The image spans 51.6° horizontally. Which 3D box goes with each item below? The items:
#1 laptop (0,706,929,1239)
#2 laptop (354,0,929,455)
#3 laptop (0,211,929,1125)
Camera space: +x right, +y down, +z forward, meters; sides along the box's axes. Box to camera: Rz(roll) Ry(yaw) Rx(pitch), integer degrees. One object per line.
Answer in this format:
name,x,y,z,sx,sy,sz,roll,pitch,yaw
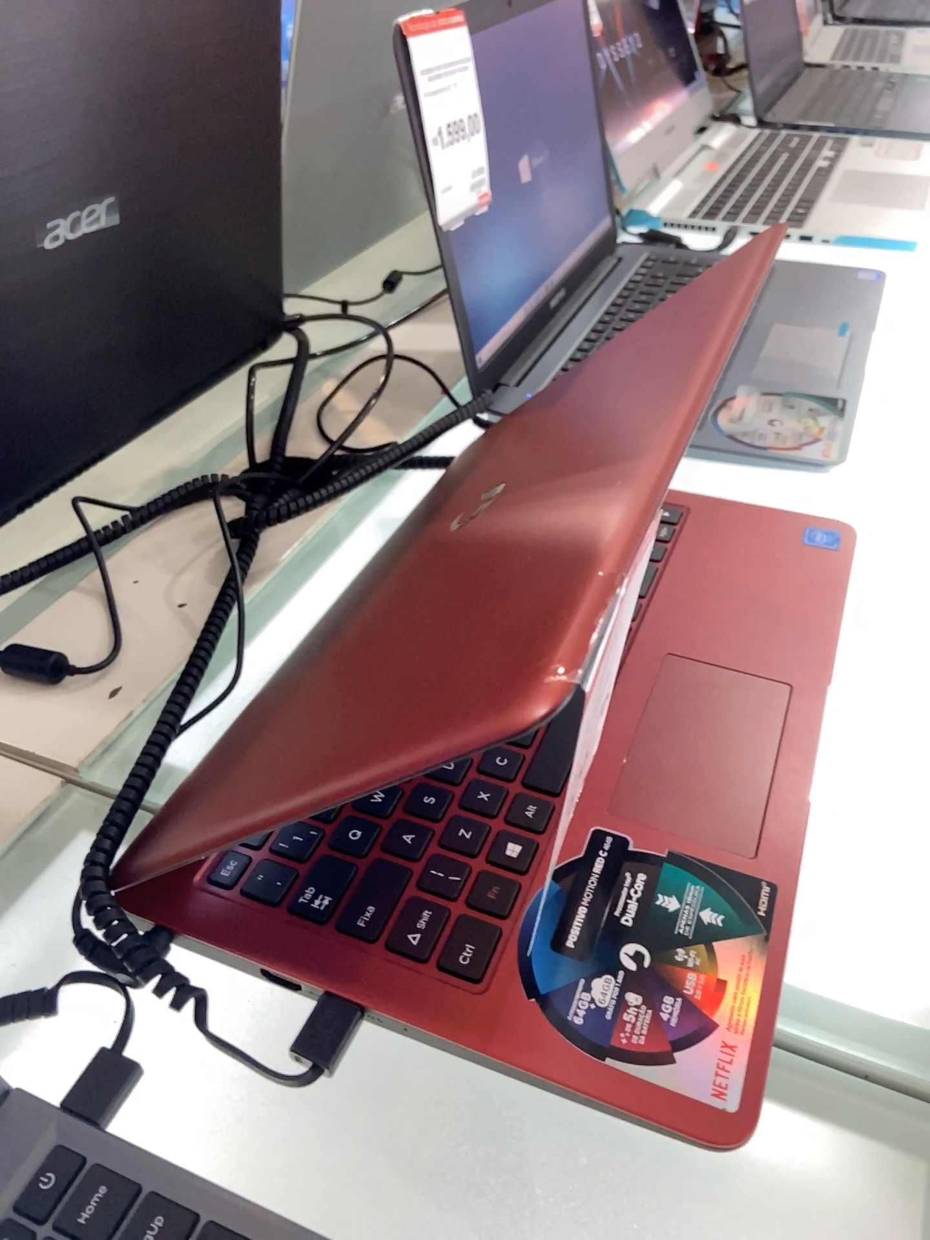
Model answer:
laptop,-0.104,0.129,0.085,0.285,0.159,0.235,8,28,9
laptop,0.158,-0.303,0.663,0.276,0.207,0.386,12,38,15
laptop,0.042,-0.031,0.369,0.212,0.144,0.322,13,40,19
